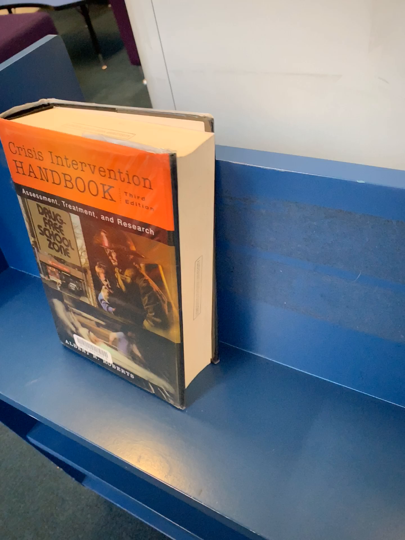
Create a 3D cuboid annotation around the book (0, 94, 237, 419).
[{"bbox_3d":[-0.071,-0.013,0.371,0.181,0.238,0.080,19,39,27],"label":"book"}]
